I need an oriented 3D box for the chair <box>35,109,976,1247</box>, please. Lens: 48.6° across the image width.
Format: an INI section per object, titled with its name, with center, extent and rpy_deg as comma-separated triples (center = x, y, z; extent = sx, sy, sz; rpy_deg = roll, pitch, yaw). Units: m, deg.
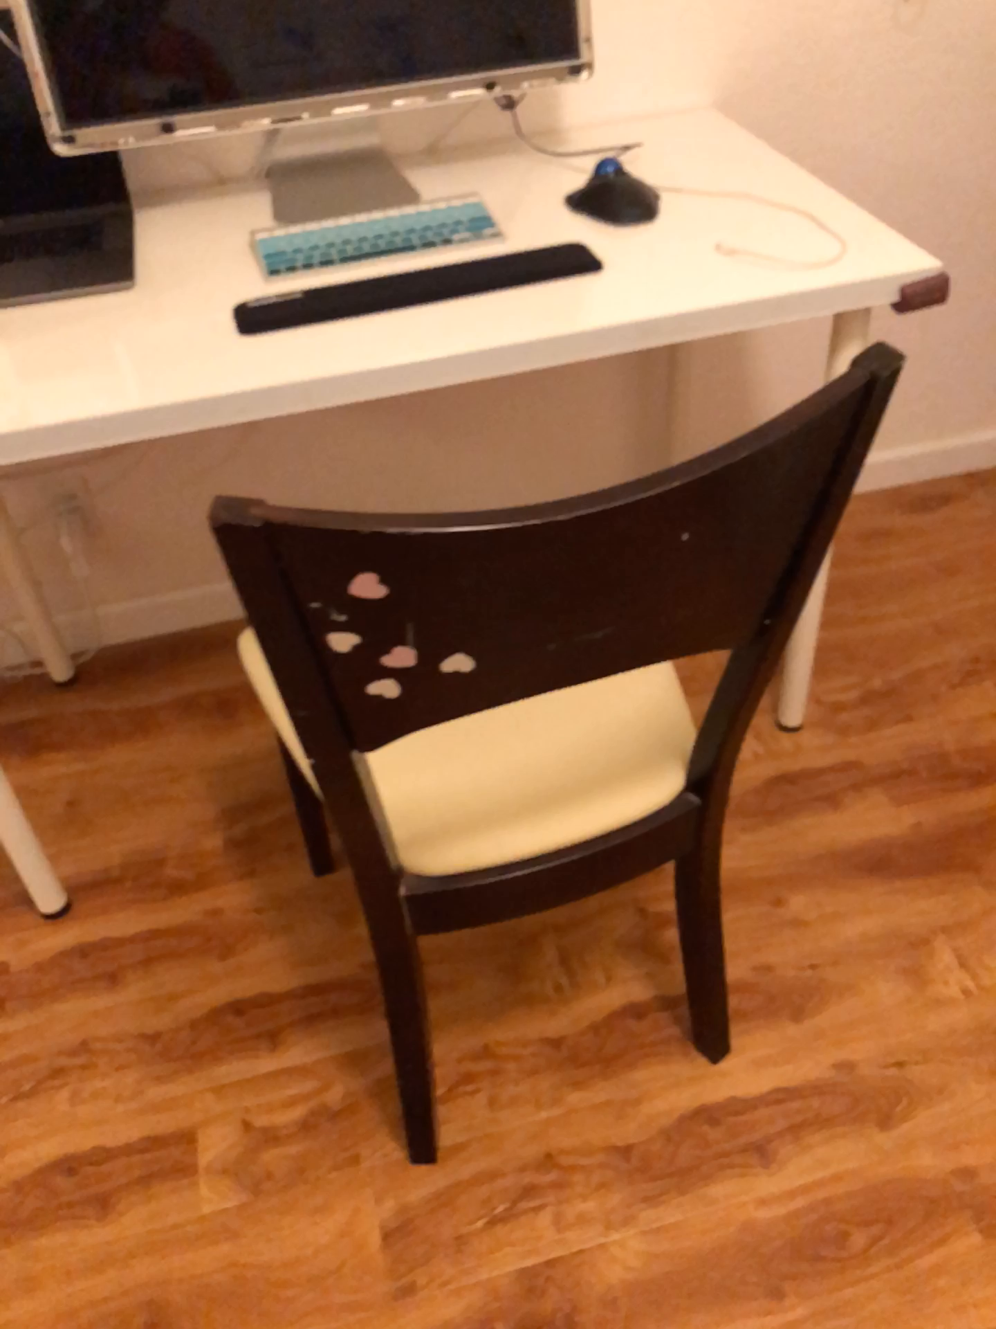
[chair]
center = -0.041, 0.012, 1.172
extent = 0.570, 0.885, 0.663
rpy_deg = -14, 42, -10
